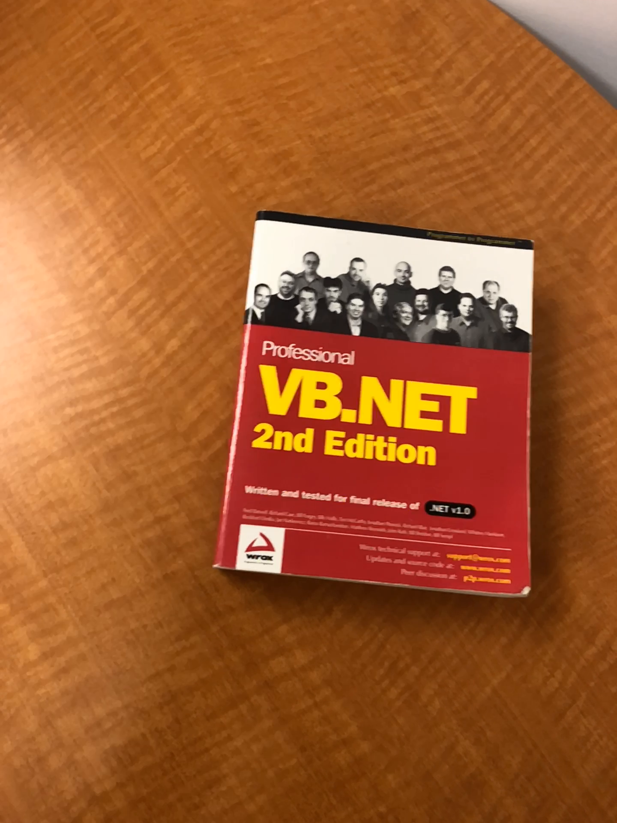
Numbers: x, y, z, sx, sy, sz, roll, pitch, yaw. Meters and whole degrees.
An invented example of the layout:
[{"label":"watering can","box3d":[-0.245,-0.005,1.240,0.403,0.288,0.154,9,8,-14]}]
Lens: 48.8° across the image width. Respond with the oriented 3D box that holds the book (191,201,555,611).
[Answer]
[{"label":"book","box3d":[0.046,-0.004,0.431,0.200,0.060,0.230,7,74,-2]}]
